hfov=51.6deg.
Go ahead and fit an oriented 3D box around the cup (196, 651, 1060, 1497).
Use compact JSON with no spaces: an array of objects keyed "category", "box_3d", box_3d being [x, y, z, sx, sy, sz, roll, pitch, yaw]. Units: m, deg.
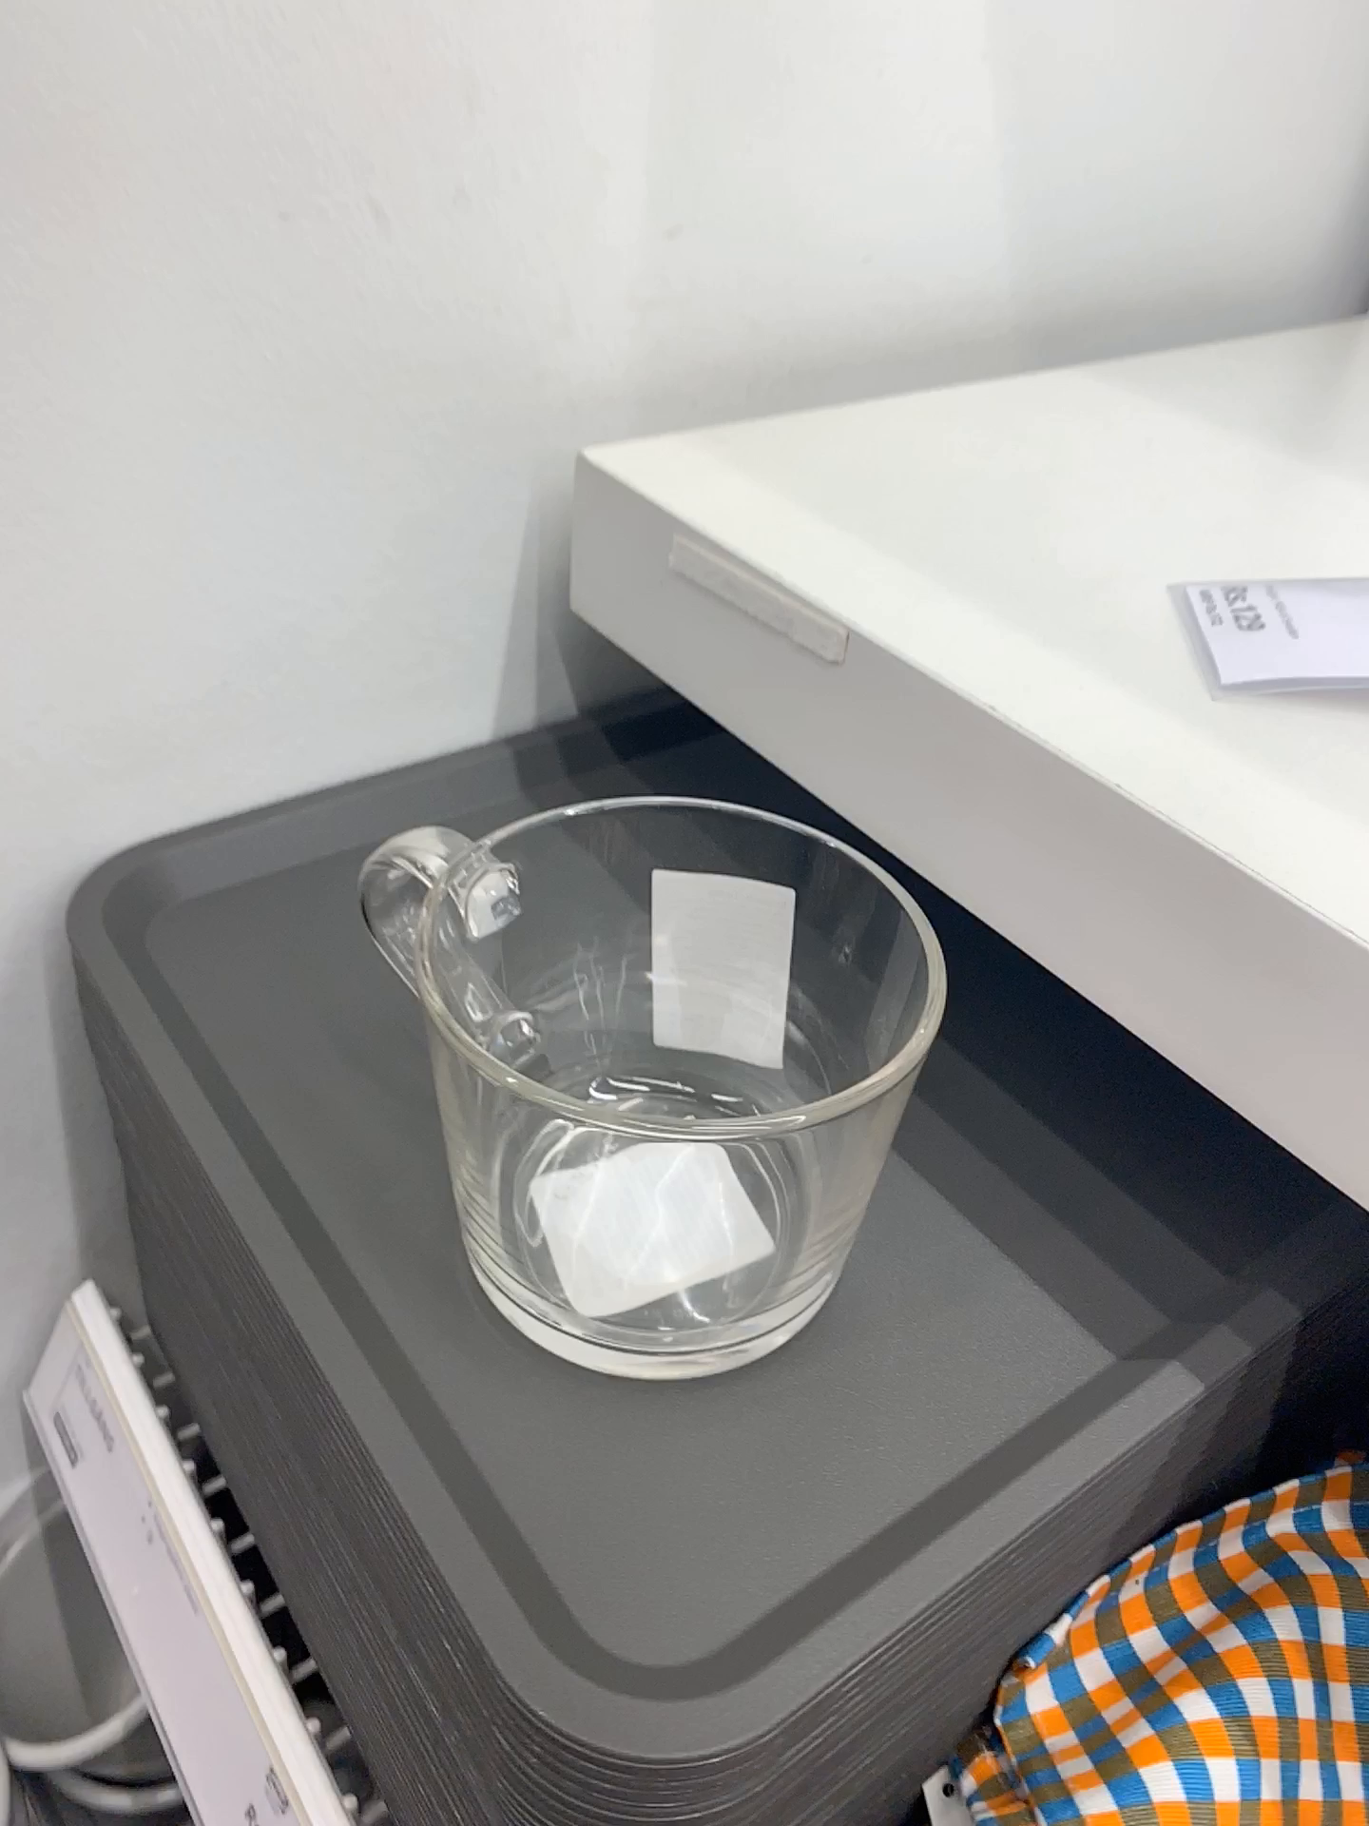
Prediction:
[{"category":"cup","box_3d":[-0.015,0.021,0.289,0.130,0.080,0.100,34,44,31]}]
